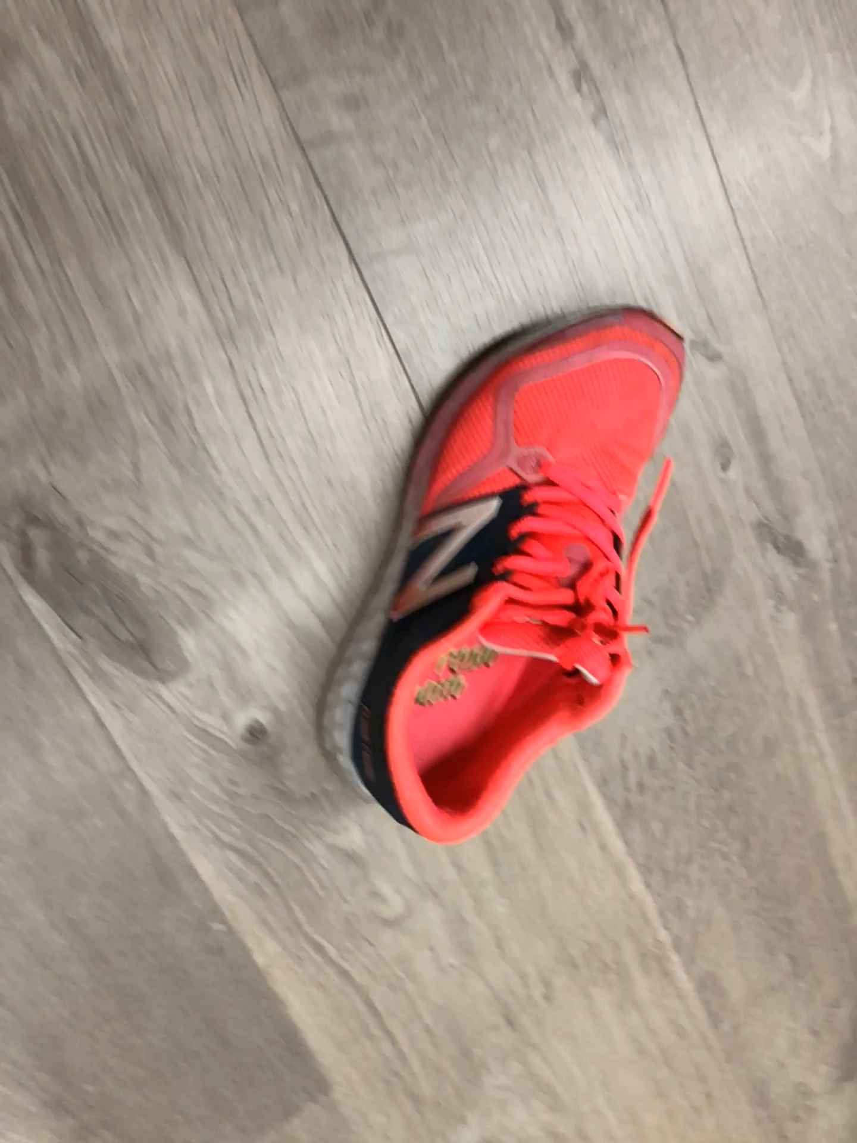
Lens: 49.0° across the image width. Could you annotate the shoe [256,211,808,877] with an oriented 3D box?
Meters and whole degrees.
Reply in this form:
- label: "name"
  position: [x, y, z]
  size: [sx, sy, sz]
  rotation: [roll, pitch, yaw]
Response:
- label: "shoe"
  position: [0.037, -0.014, 0.413]
  size: [0.100, 0.110, 0.240]
  rotation: [31, 88, -21]
